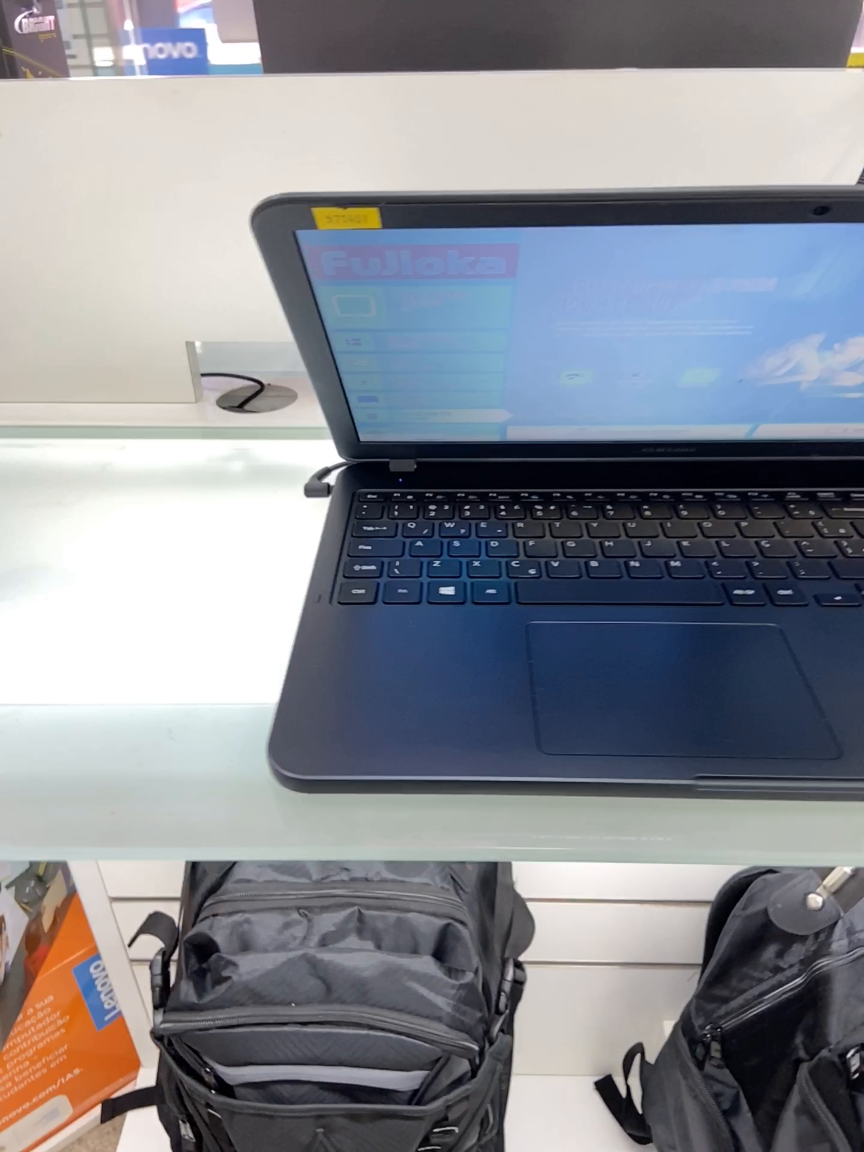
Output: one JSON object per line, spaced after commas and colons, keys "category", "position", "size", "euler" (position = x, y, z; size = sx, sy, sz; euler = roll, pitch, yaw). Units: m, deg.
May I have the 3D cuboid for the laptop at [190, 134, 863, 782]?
{"category": "laptop", "position": [0.130, -0.070, 0.369], "size": [0.372, 0.173, 0.247], "euler": [0, 33, 2]}
